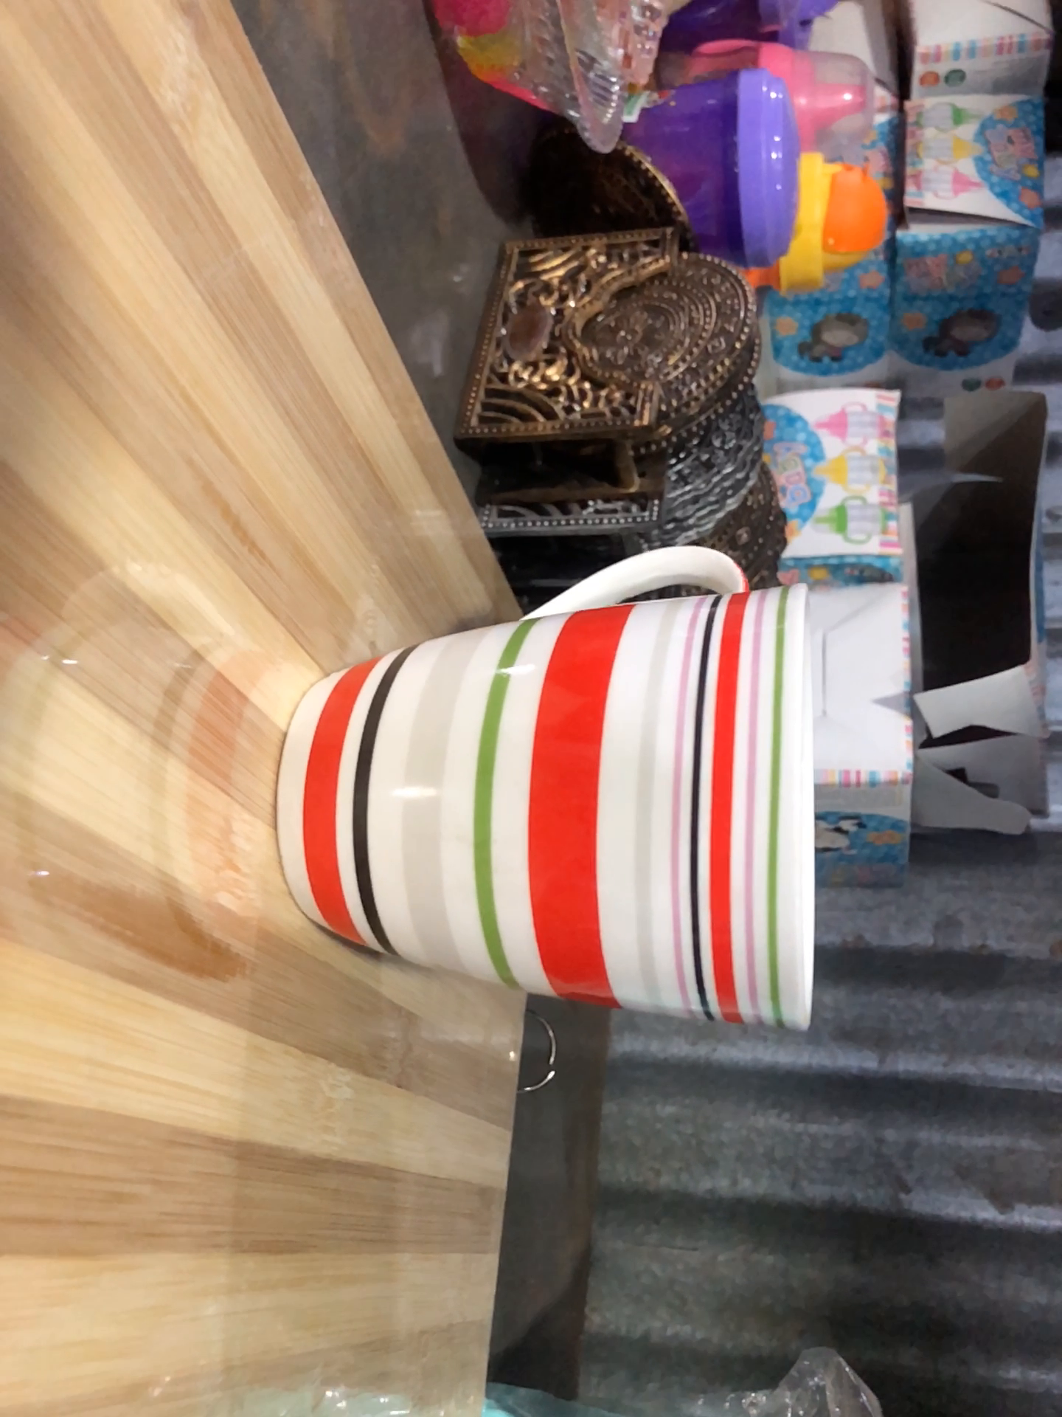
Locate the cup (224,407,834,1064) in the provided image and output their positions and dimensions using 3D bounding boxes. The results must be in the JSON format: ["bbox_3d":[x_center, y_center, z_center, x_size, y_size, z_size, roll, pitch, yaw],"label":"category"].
[{"bbox_3d":[0.011,0.009,0.247,0.080,0.100,0.110,62,32,-65],"label":"cup"}]
